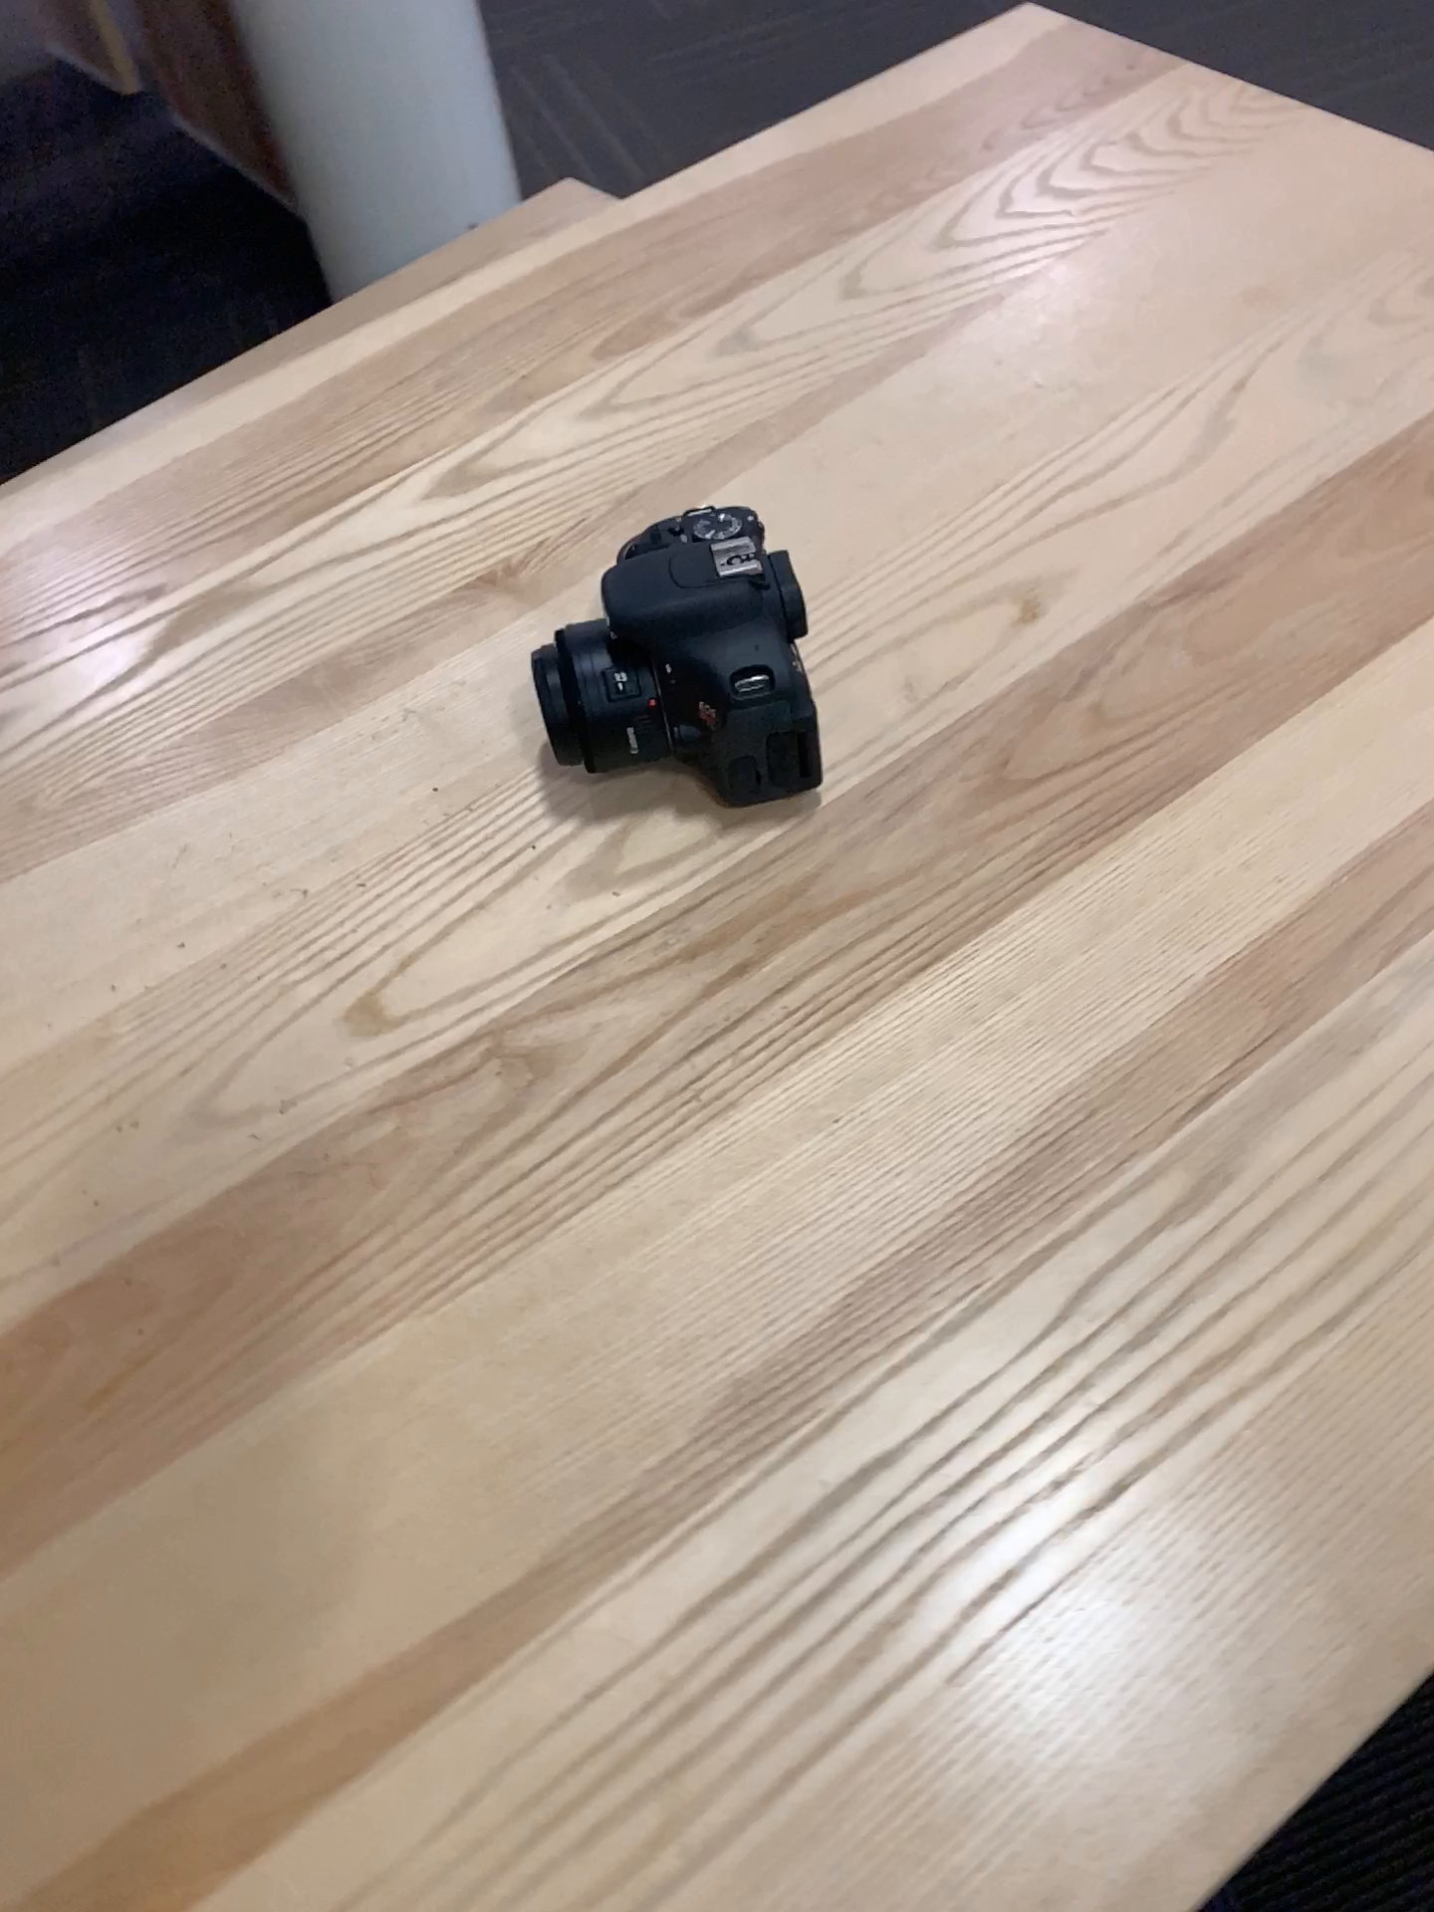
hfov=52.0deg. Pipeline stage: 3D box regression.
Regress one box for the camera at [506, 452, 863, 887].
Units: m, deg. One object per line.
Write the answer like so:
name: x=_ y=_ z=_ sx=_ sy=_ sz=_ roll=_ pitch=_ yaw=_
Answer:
camera: x=-0.015 y=-0.128 z=0.646 sx=0.120 sy=0.100 sz=0.145 roll=-13 pitch=48 yaw=-3
